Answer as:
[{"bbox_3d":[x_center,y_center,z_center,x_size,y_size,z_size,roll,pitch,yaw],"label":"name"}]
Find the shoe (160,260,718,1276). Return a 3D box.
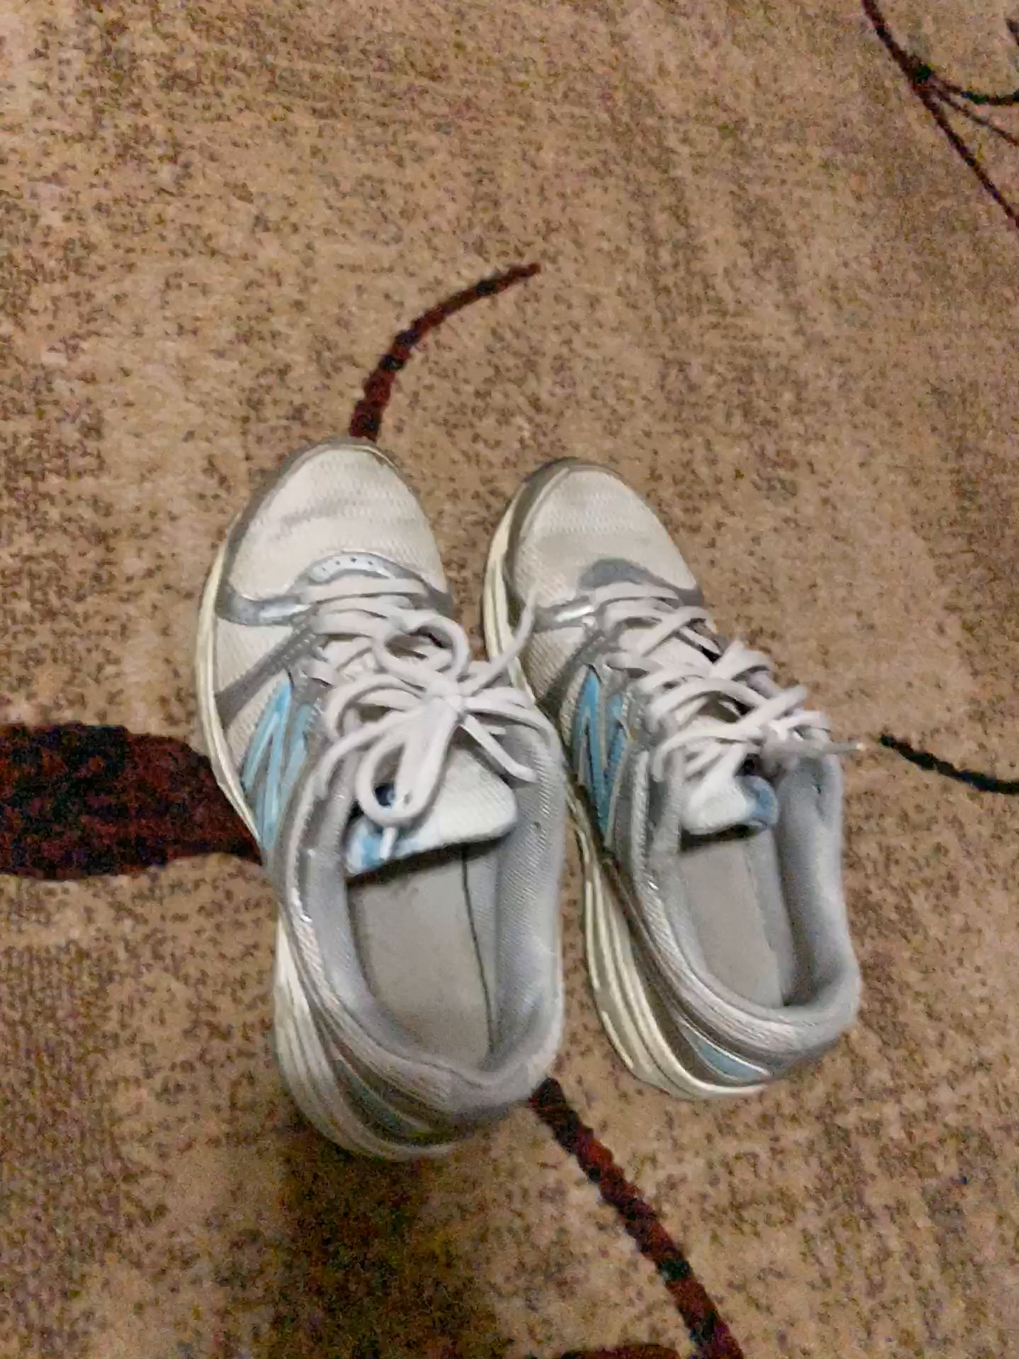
[{"bbox_3d":[-0.043,0.020,0.358,0.111,0.124,0.283,-5,73,-22],"label":"shoe"}]

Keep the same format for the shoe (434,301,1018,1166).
[{"bbox_3d":[0.067,0.015,0.402,0.104,0.124,0.283,-7,73,-23],"label":"shoe"}]
